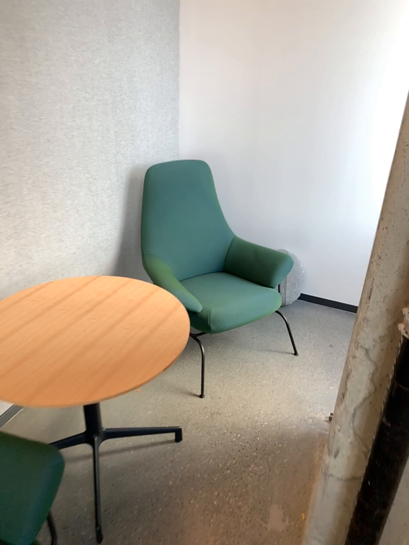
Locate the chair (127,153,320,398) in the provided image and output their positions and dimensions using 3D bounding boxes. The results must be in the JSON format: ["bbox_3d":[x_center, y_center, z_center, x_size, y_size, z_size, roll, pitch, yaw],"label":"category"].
[{"bbox_3d":[0.057,-0.051,2.293,0.651,1.014,0.753,-15,30,-30],"label":"chair"}]

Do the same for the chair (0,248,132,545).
[{"bbox_3d":[-0.762,0.609,0.975,0.841,0.994,0.723,14,29,25],"label":"chair"}]
